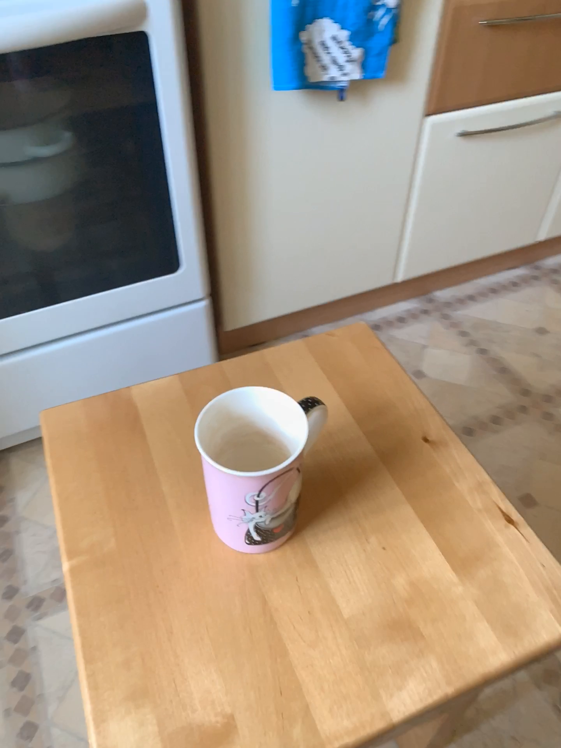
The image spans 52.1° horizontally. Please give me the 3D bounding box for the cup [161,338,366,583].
[{"bbox_3d":[-0.009,0.059,0.408,0.074,0.107,0.114,33,53,28],"label":"cup"}]
